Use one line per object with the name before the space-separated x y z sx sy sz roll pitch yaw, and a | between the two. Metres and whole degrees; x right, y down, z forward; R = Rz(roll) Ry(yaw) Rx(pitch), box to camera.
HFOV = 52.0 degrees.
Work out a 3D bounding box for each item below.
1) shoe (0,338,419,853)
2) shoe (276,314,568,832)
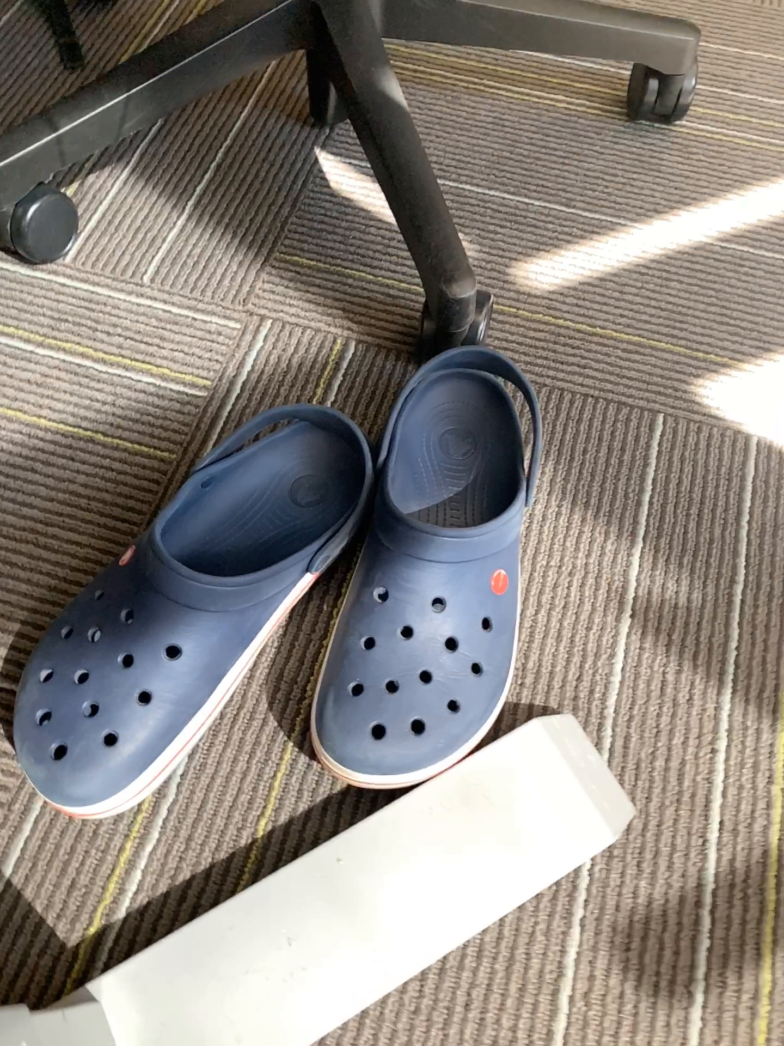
shoe | -0.130 0.035 0.533 0.130 0.080 0.320 33 67 14
shoe | 0.031 0.021 0.549 0.130 0.080 0.330 11 63 4
